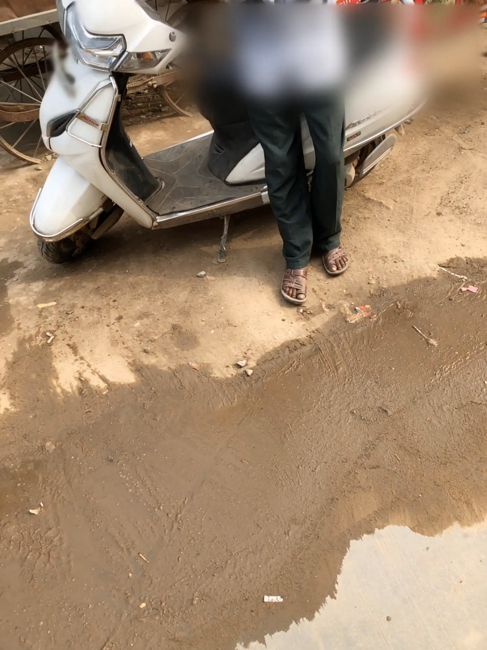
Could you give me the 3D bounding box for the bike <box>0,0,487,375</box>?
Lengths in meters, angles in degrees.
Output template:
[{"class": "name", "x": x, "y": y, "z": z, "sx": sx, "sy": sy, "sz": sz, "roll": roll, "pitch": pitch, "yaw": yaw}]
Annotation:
[{"class": "bike", "x": -0.093, "y": -0.694, "z": 1.950, "sx": 1.577, "sy": 1.113, "sz": 0.659, "roll": -19, "pitch": 44, "yaw": -9}]
